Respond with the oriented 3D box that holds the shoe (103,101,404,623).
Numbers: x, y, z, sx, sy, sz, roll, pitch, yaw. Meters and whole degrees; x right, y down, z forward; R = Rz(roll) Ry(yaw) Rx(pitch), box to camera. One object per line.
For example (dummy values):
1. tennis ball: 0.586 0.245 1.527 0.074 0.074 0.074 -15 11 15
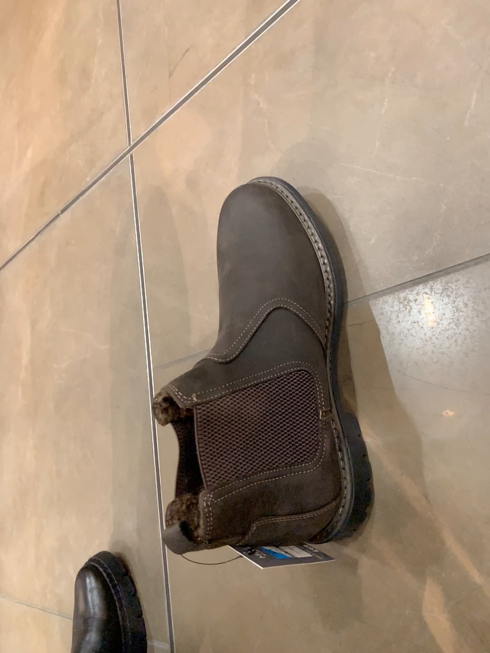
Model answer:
1. shoe: 0.001 0.022 0.384 0.114 0.165 0.304 -19 72 43
